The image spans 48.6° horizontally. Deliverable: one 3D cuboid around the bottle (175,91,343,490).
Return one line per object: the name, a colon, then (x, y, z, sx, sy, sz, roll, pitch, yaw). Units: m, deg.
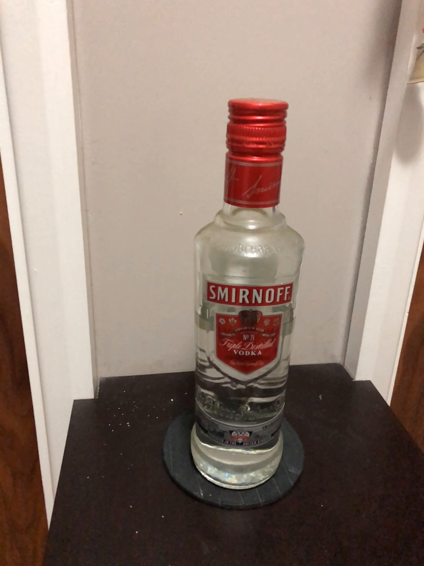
bottle: (0.016, 0.009, 0.273, 0.070, 0.219, 0.070, 2, 22, -1)
